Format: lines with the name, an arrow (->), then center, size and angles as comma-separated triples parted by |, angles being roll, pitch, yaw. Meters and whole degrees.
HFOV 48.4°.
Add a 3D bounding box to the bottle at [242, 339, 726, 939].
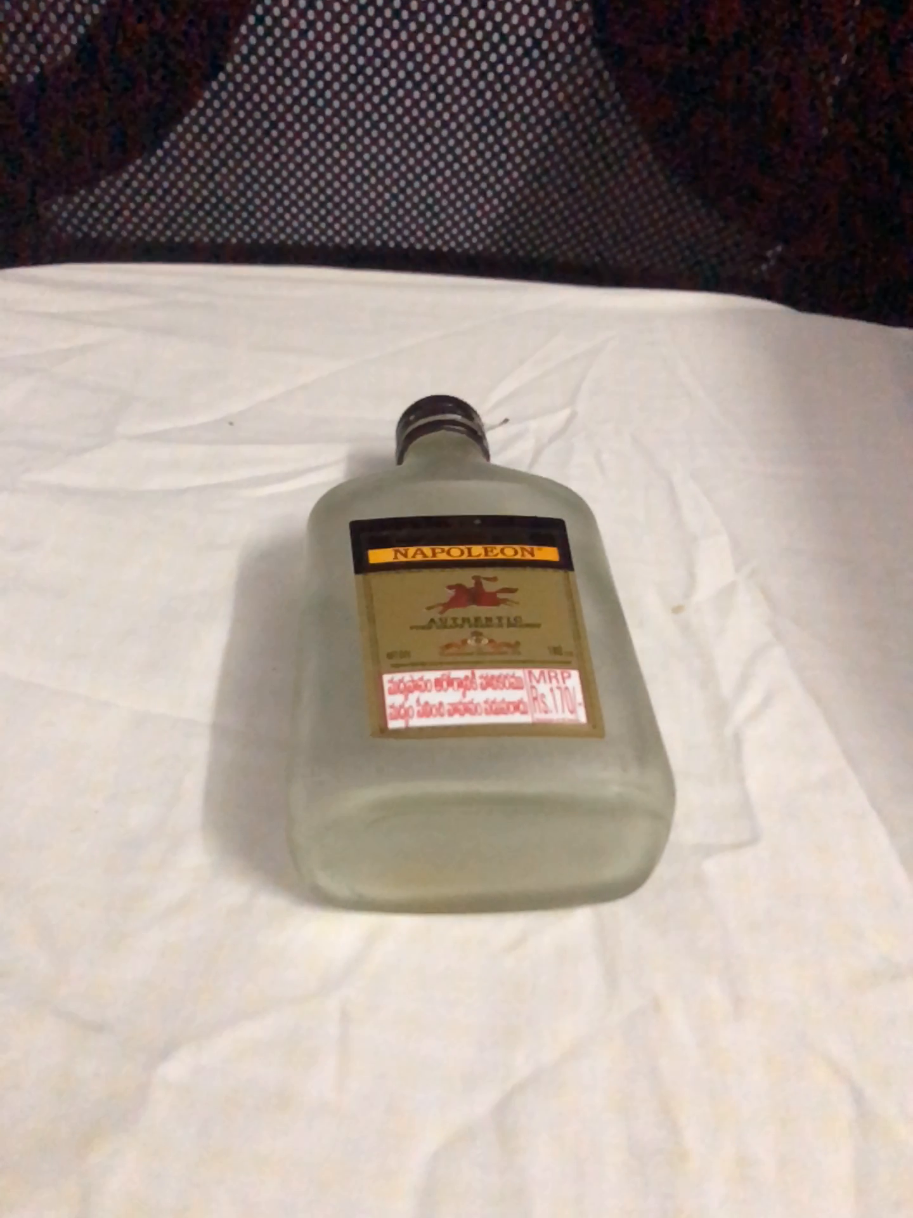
bottle -> -0.002, -0.006, 0.240 | 0.080, 0.040, 0.161 | 1, 41, -6
